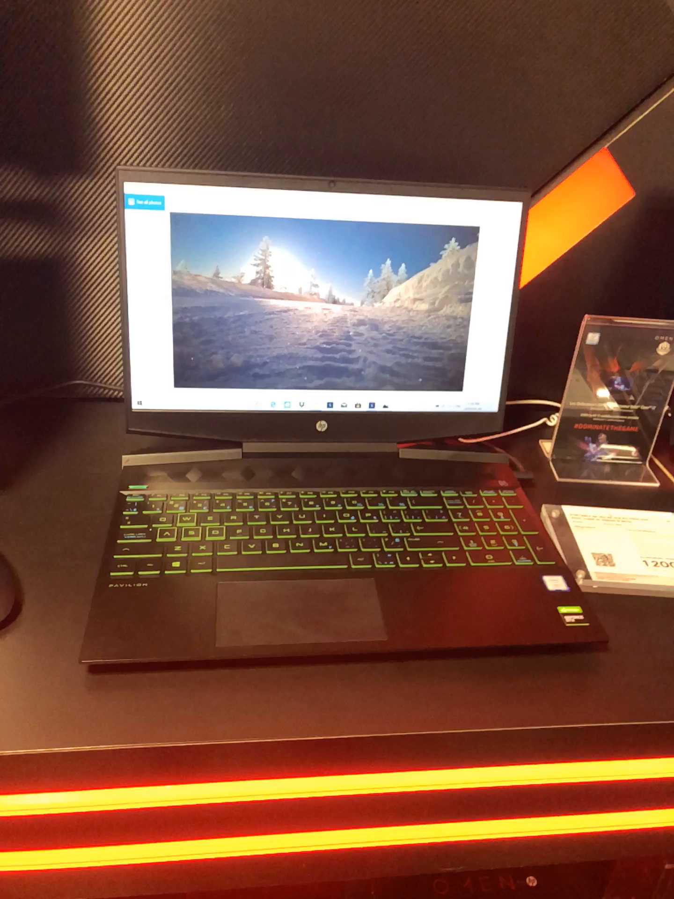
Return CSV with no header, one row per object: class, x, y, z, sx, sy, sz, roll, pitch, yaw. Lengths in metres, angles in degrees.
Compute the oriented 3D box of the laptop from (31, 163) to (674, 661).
laptop,0.004,-0.055,0.570,0.355,0.240,0.315,0,30,-7
